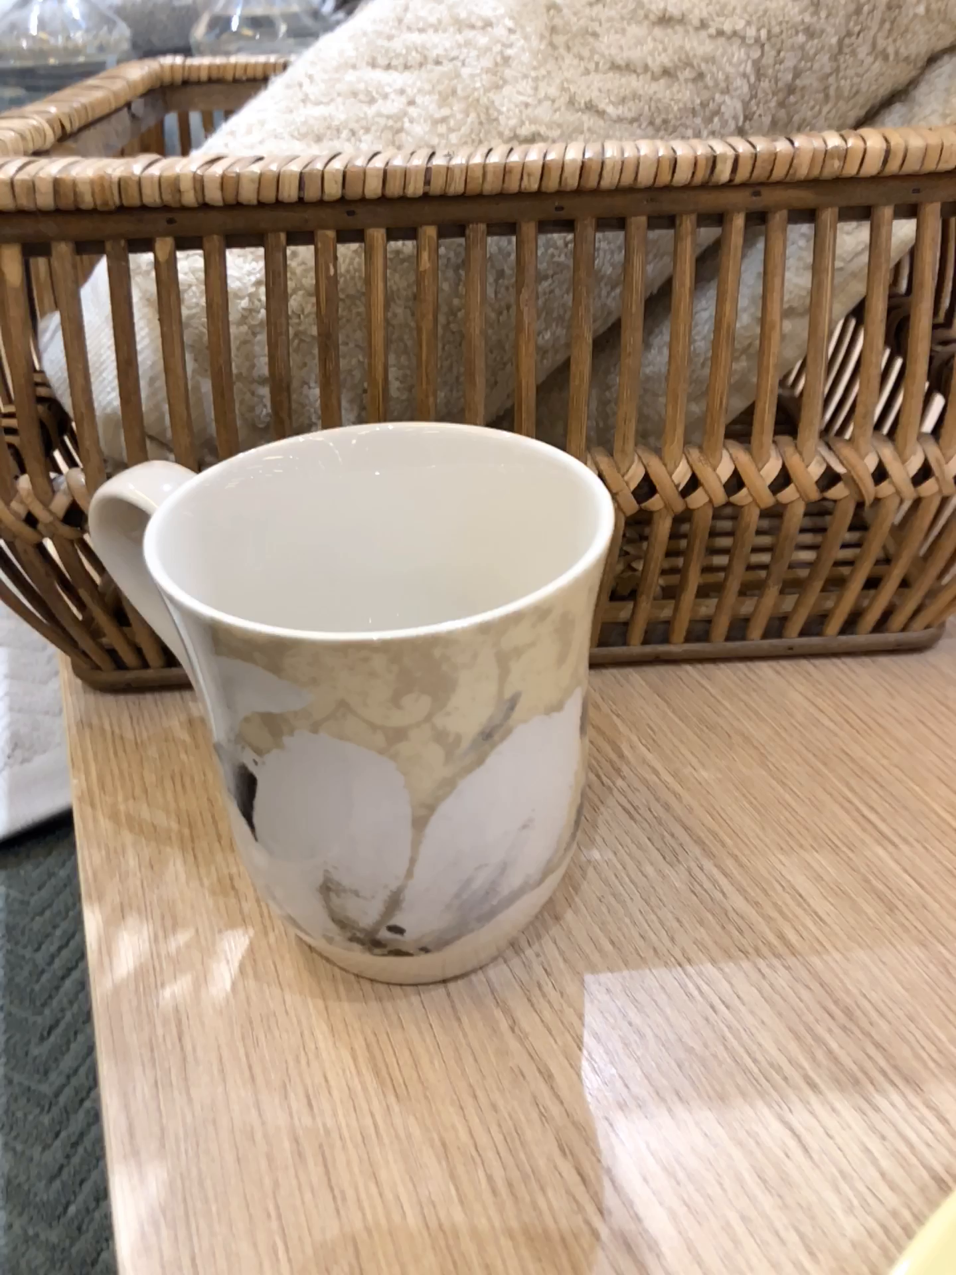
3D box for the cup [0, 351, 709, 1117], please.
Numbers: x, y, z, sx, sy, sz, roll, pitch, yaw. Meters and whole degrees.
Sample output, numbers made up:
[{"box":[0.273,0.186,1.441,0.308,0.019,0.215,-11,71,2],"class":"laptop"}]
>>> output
[{"box":[-0.032,0.008,0.242,0.130,0.099,0.090,26,42,36],"class":"cup"}]
